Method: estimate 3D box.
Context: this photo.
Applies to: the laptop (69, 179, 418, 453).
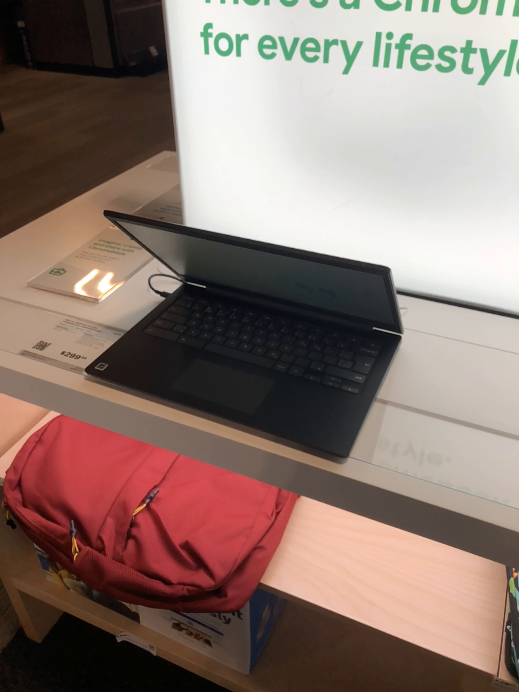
[{"bbox_3d":[-0.010,-0.055,0.651,0.307,0.157,0.214,15,40,21],"label":"laptop"}]
